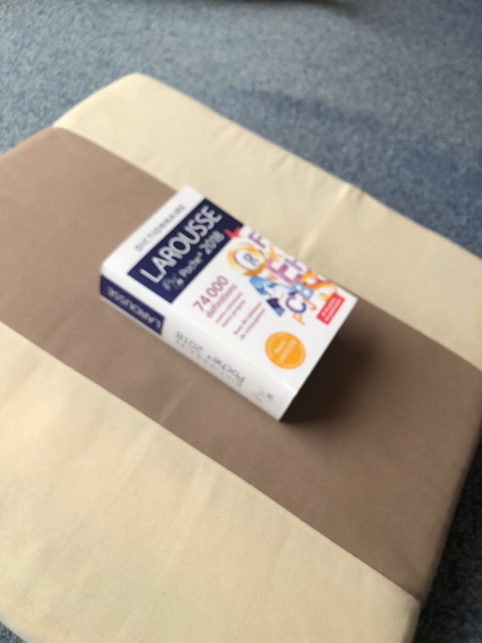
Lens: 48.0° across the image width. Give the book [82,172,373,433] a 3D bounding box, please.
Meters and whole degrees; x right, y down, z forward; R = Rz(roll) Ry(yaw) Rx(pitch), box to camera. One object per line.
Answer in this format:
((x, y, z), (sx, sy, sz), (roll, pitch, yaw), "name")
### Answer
((-0.011, -0.023, 0.461), (0.200, 0.060, 0.131), (33, 55, 9), "book")
